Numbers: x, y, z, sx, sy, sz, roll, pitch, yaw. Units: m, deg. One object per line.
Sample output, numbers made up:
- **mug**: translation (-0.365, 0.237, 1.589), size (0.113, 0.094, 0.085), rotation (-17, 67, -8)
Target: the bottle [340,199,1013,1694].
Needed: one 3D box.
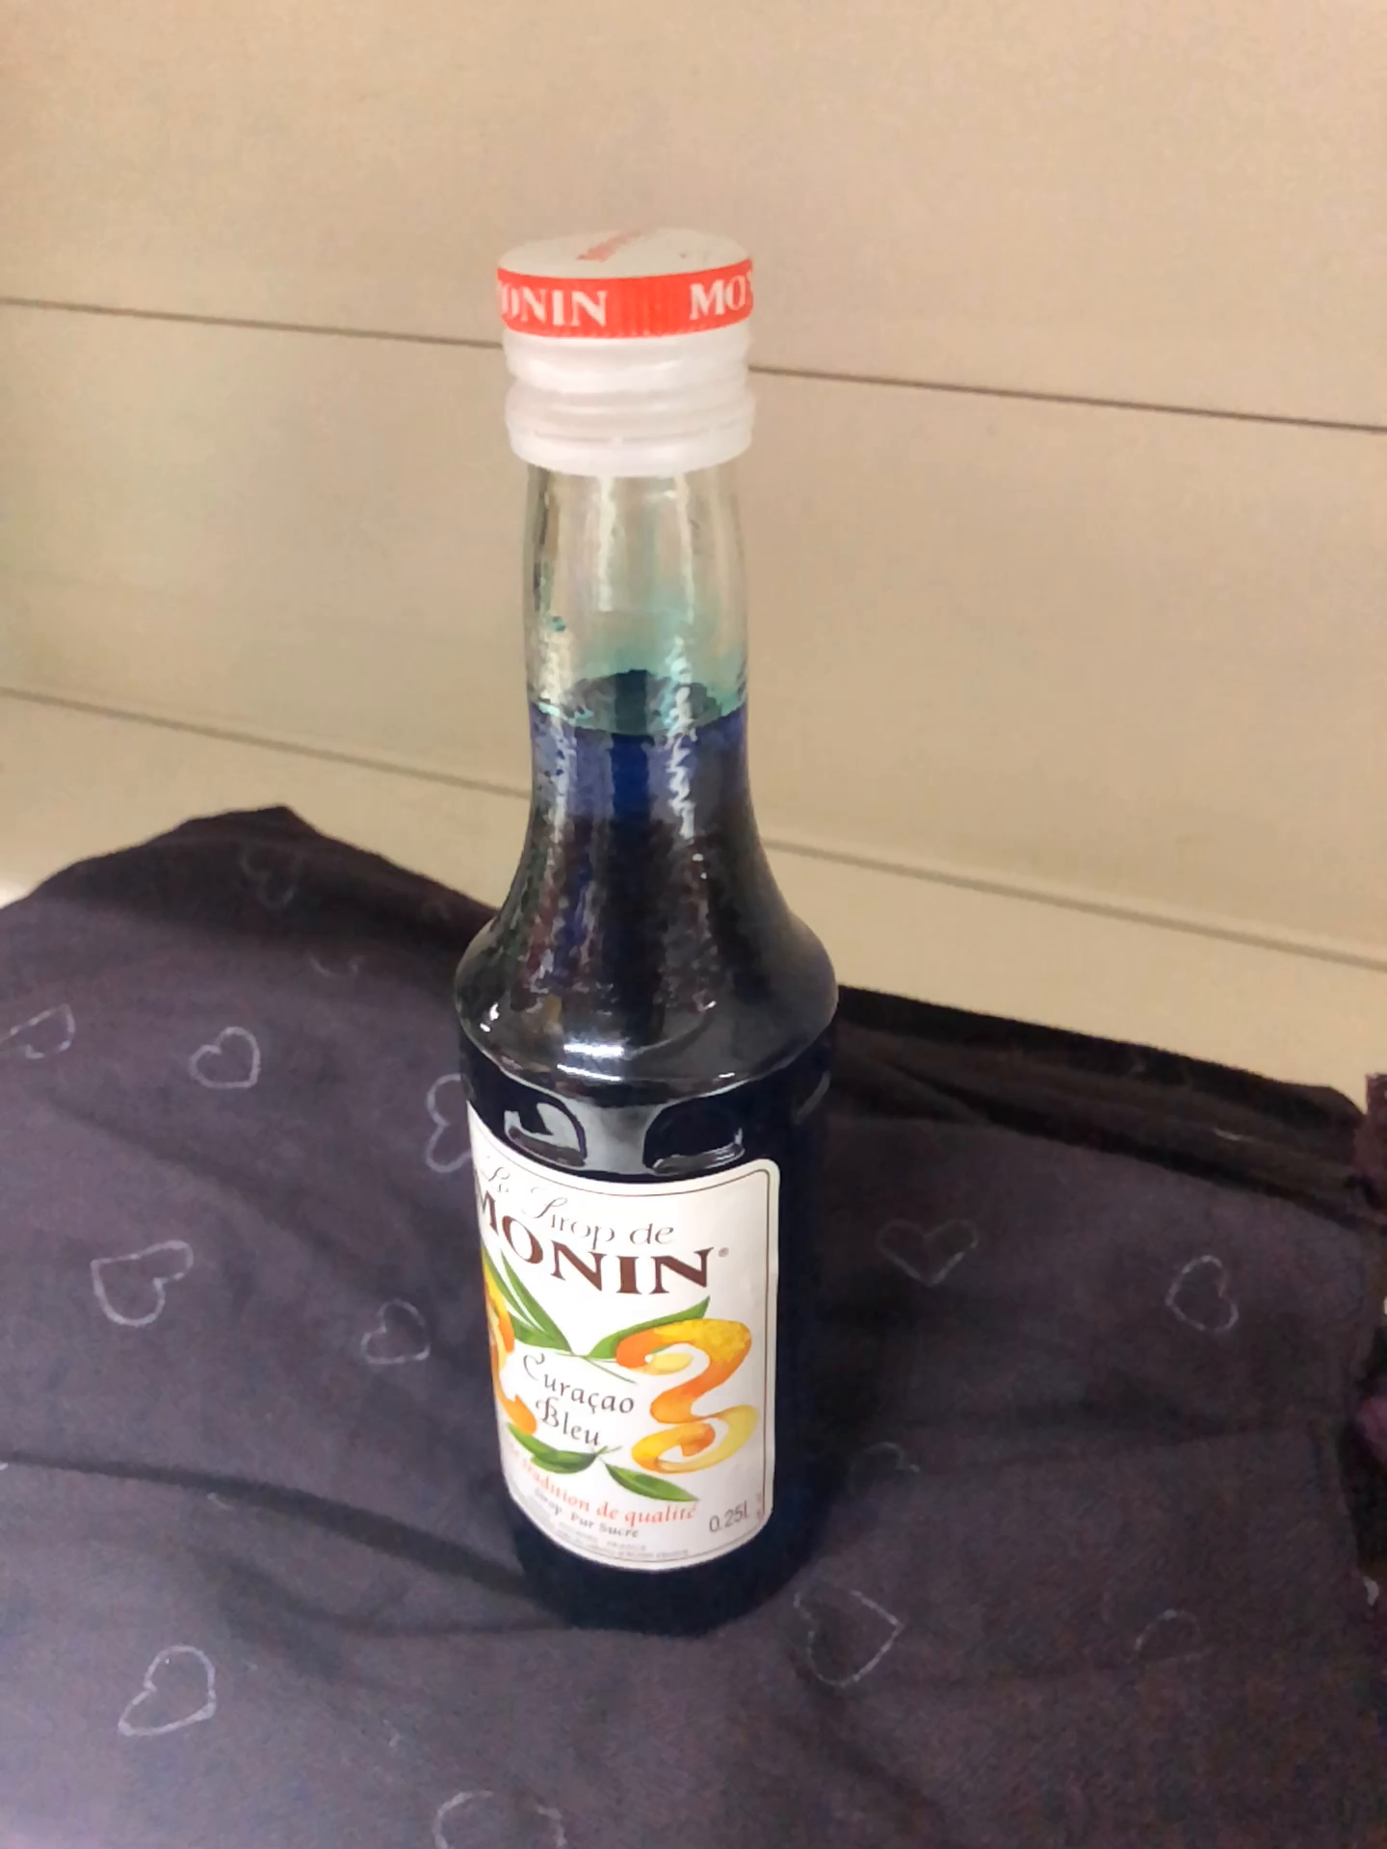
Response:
- **bottle**: translation (-0.002, 0.013, 0.225), size (0.060, 0.209, 0.050), rotation (13, 32, 21)
